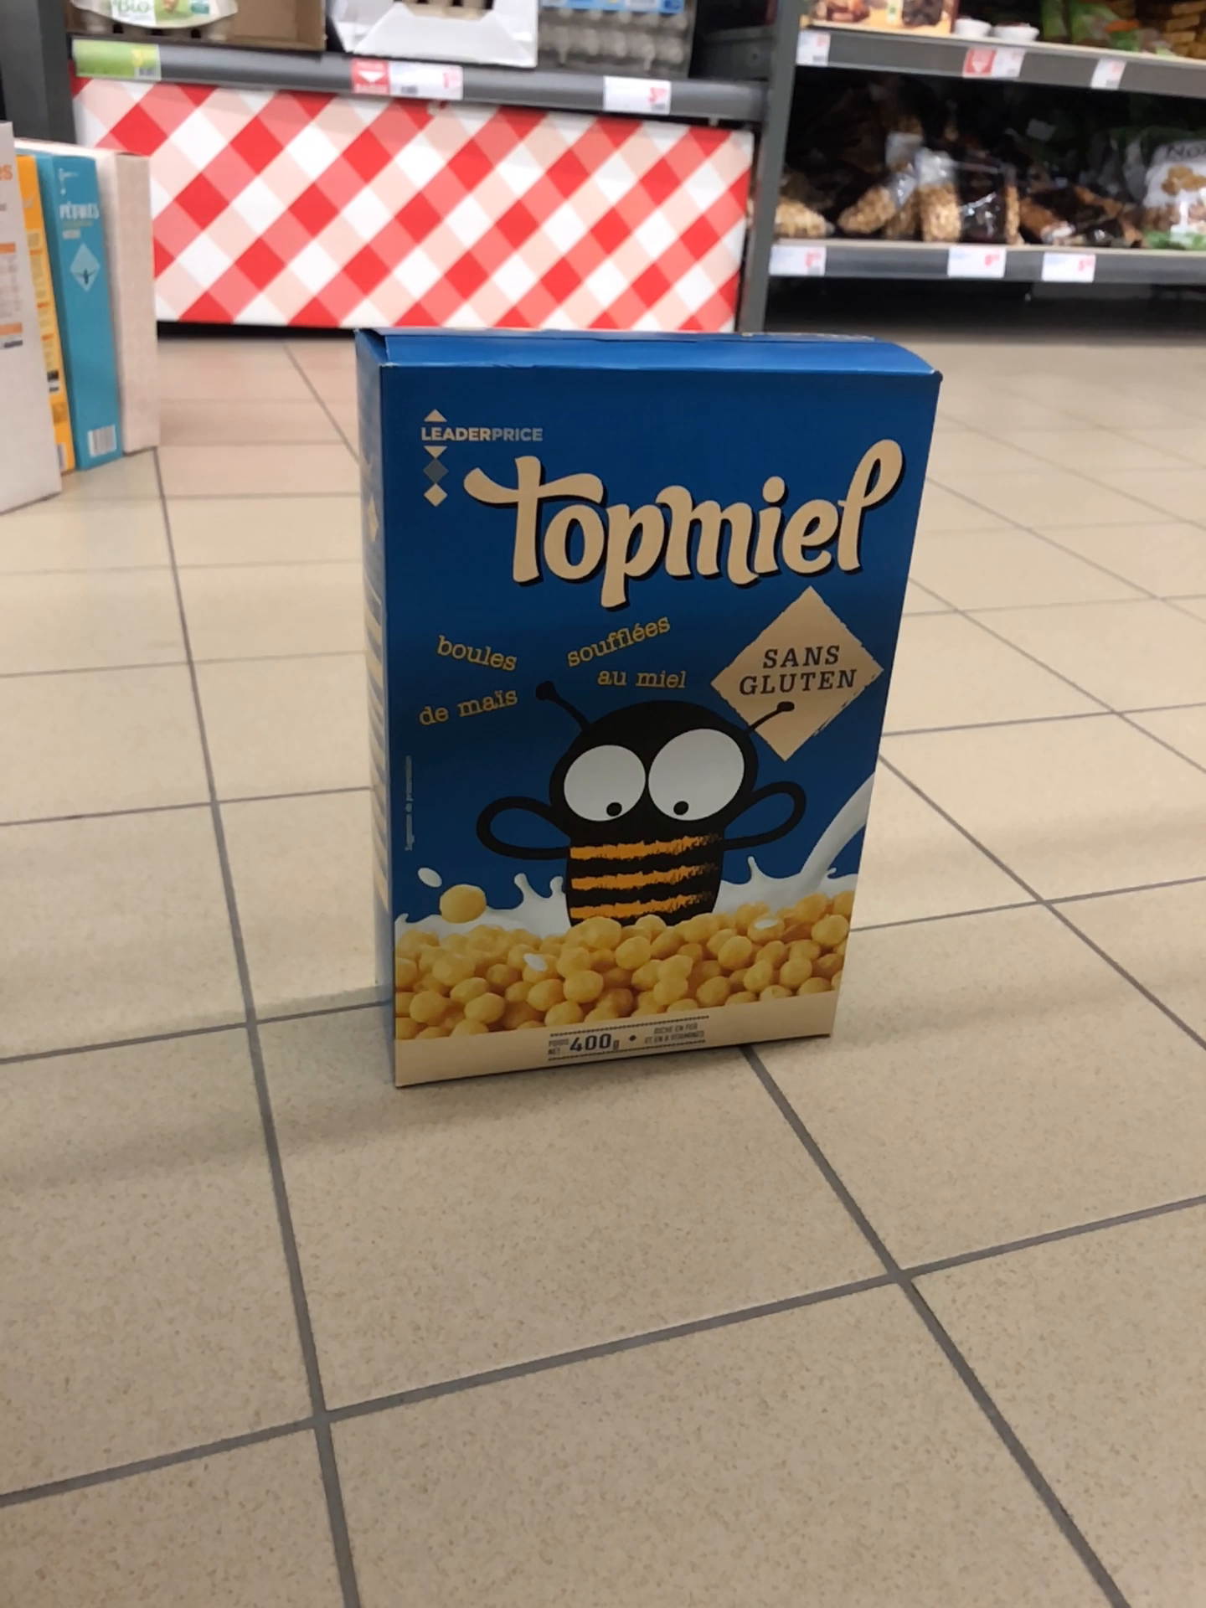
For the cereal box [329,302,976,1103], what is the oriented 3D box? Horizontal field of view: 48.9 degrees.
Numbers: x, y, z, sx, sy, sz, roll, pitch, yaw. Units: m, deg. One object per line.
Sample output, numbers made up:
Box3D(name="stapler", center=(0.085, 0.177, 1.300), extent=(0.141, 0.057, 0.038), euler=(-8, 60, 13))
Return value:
Box3D(name="cereal box", center=(0.006, -0.035, 0.505), extent=(0.200, 0.278, 0.080), euler=(-4, 29, -15))
